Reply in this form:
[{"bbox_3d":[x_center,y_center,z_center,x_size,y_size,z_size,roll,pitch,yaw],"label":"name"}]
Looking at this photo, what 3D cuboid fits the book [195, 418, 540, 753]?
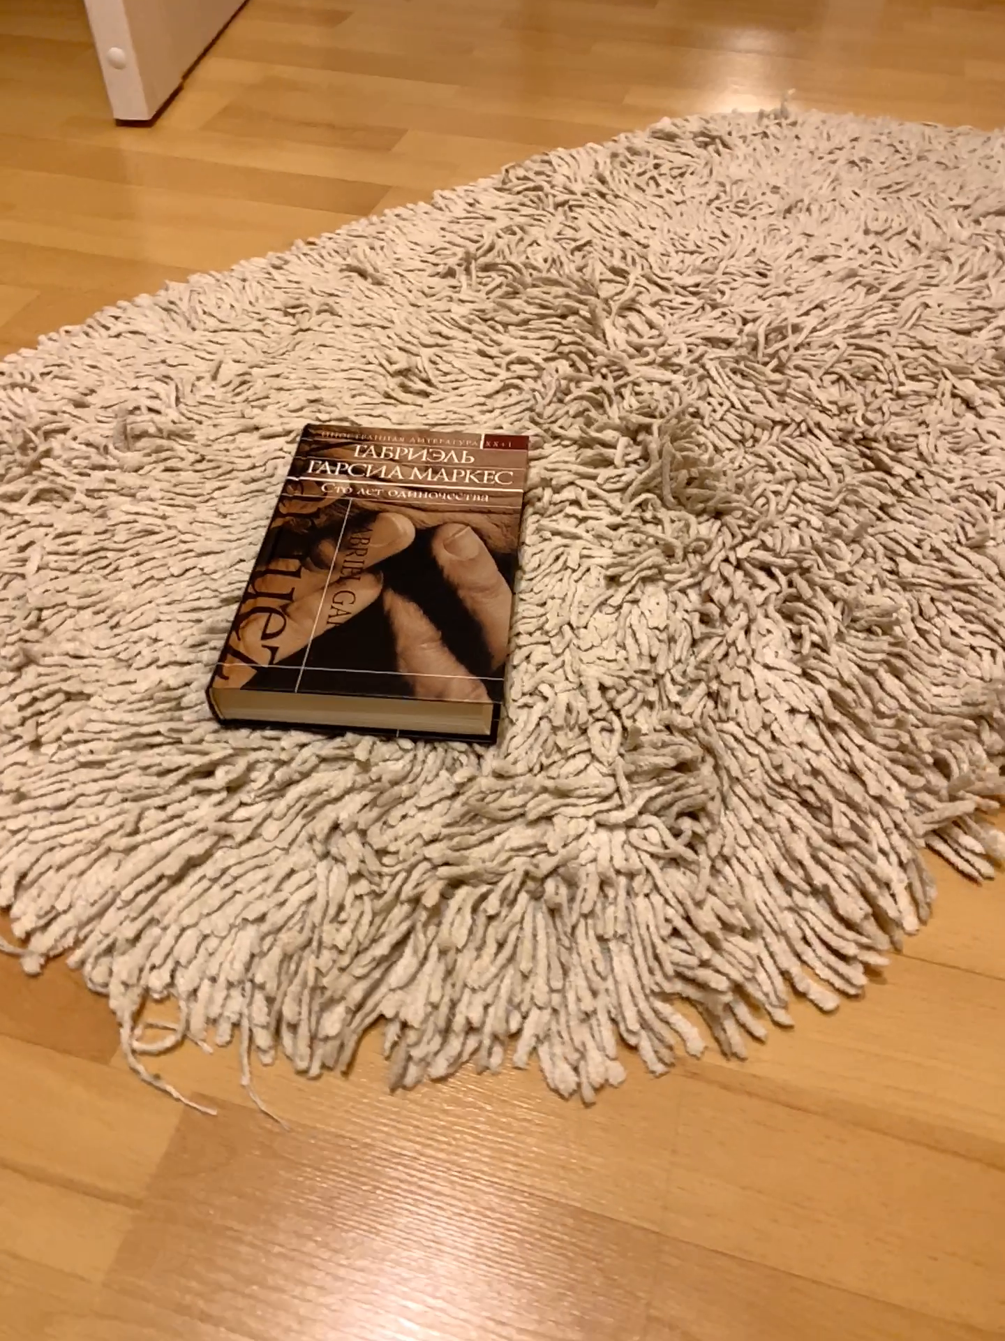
[{"bbox_3d":[-0.057,-0.054,0.531,0.140,0.030,0.212,4,47,3],"label":"book"}]
